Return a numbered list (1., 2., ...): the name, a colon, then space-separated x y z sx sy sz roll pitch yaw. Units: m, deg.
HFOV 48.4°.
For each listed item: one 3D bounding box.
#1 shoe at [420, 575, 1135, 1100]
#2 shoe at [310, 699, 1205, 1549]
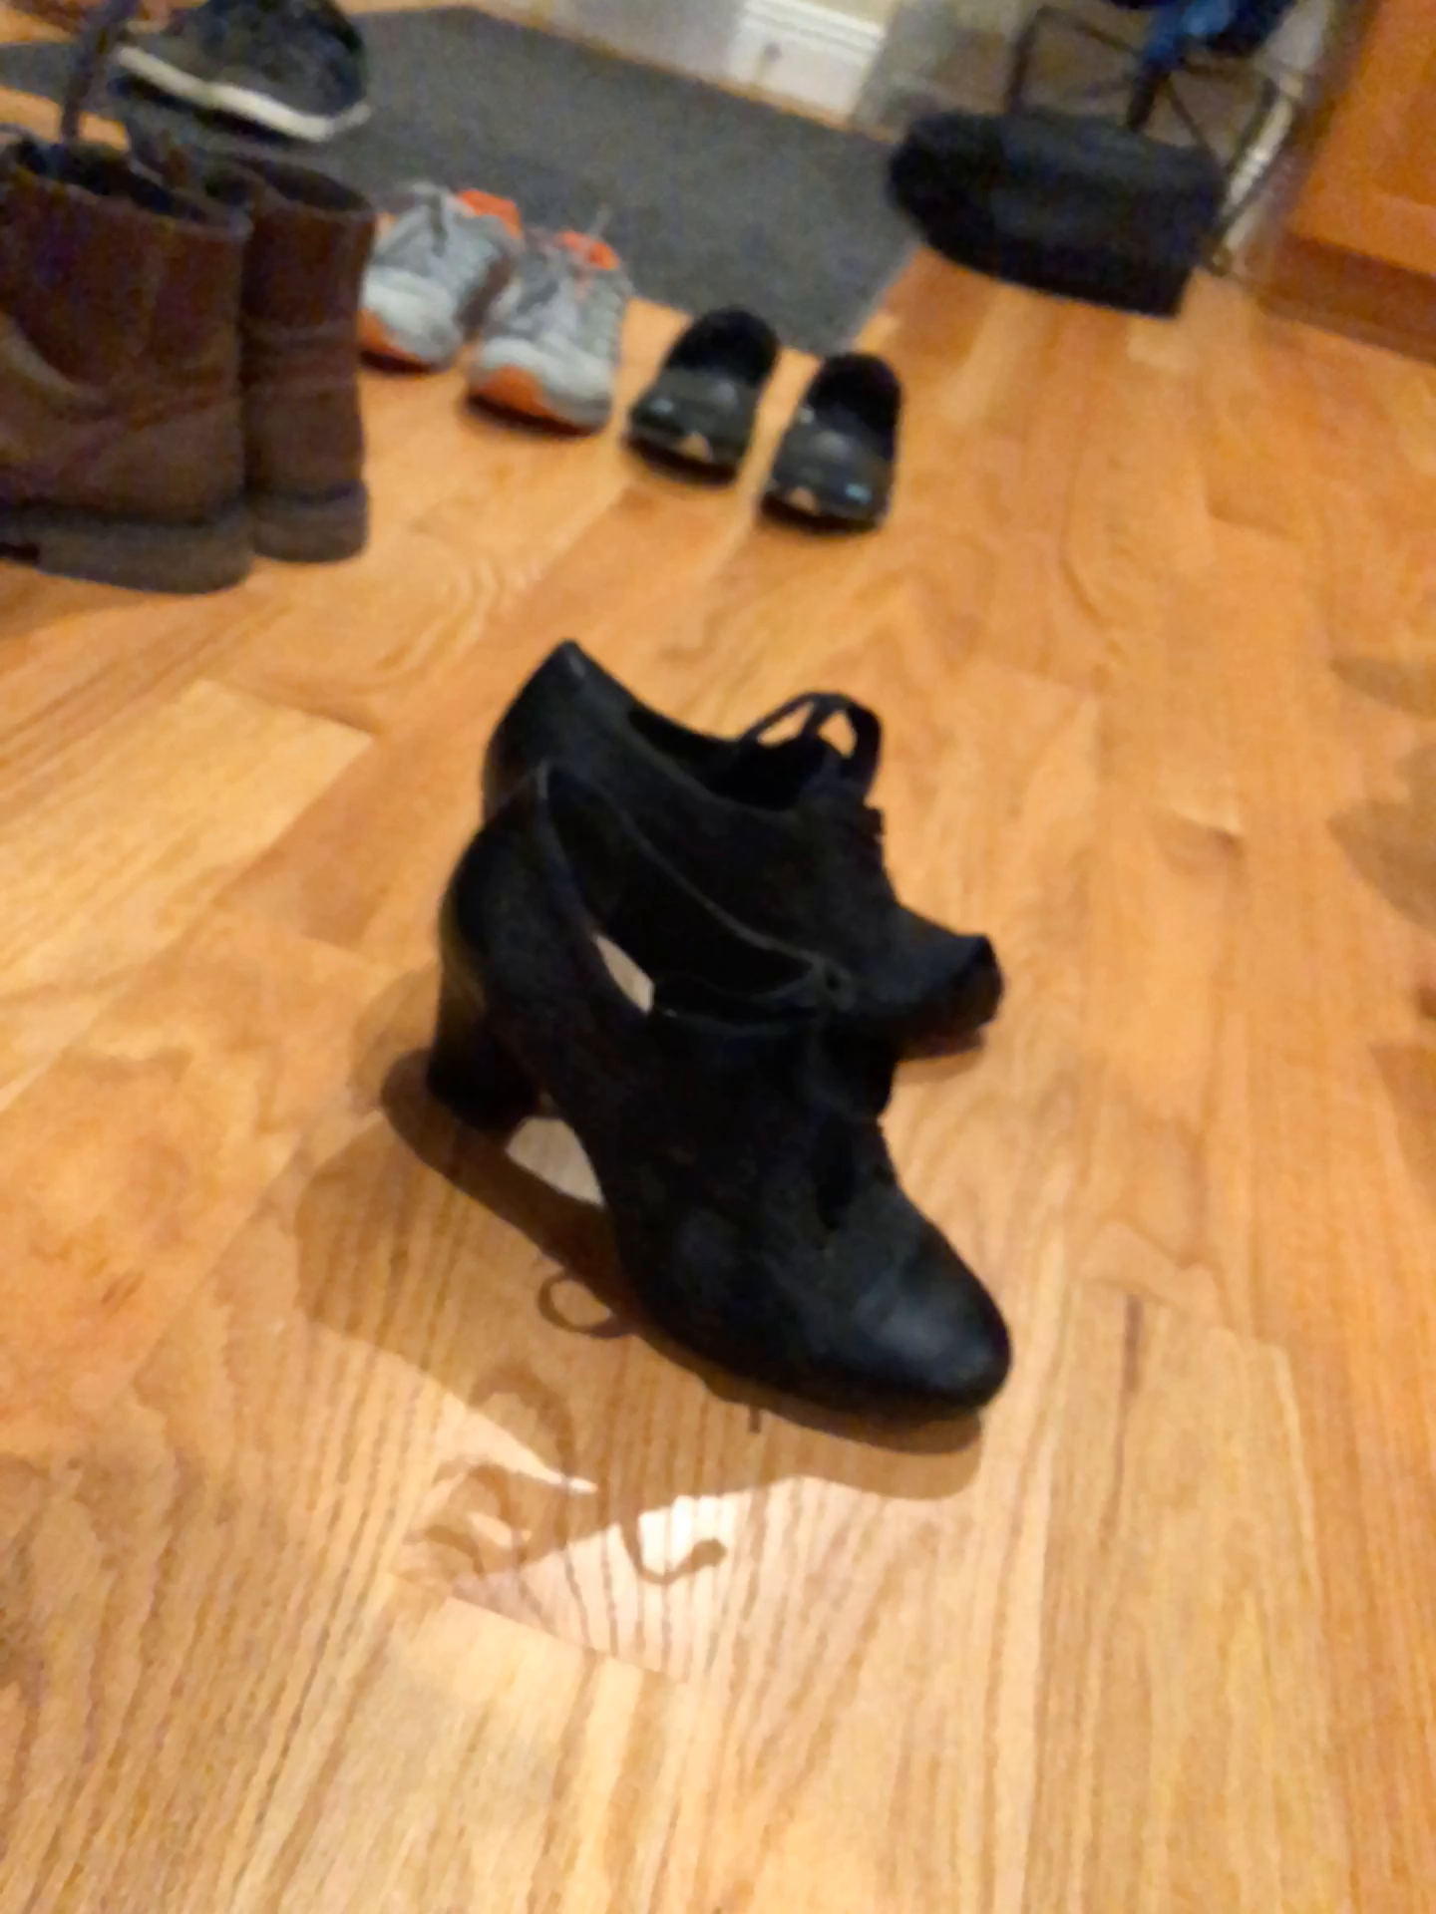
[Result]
1. shoe: 0.016 -0.041 0.591 0.223 0.125 0.088 11 34 -10
2. shoe: 0.002 0.039 0.470 0.223 0.125 0.094 31 36 19
